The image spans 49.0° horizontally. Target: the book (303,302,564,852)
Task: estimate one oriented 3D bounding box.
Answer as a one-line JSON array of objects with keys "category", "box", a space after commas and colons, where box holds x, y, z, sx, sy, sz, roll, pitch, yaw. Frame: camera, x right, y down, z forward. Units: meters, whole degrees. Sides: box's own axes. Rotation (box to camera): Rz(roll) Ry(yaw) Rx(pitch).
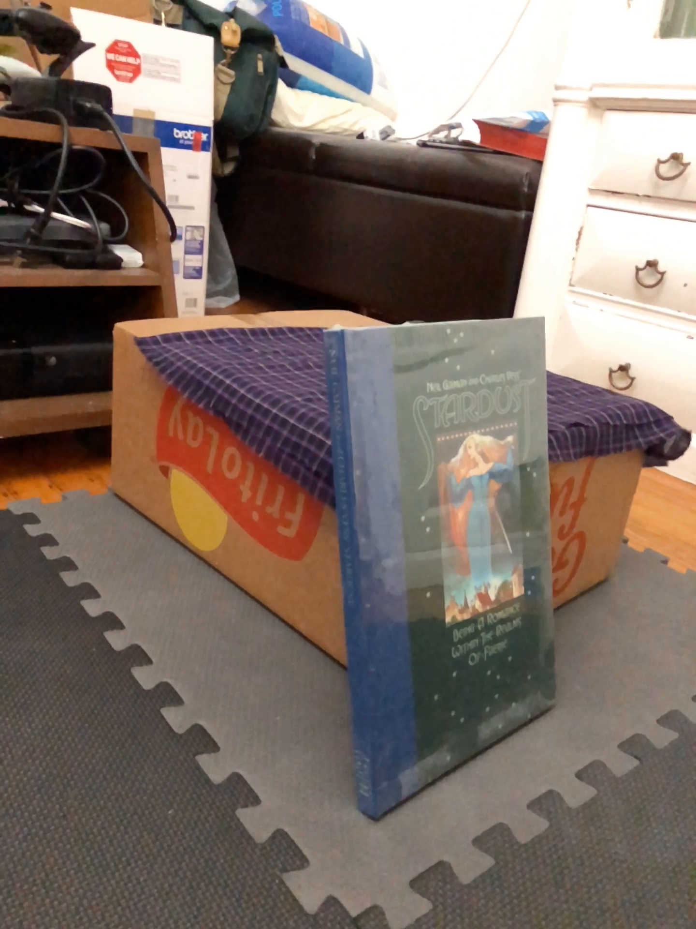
[{"category": "book", "box": [0.074, 0.061, 0.527, 0.211, 0.329, 0.020, -13, 12, -40]}]
